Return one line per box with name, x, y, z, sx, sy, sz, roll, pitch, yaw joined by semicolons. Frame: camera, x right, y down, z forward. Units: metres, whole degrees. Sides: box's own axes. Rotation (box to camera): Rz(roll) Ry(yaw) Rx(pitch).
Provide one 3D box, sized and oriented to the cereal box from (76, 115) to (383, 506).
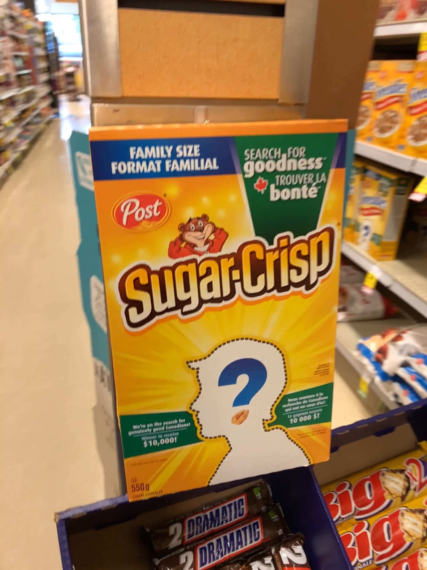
cereal box;0.014;0.016;0.405;0.220;0.299;0.080;-6;18;-13
